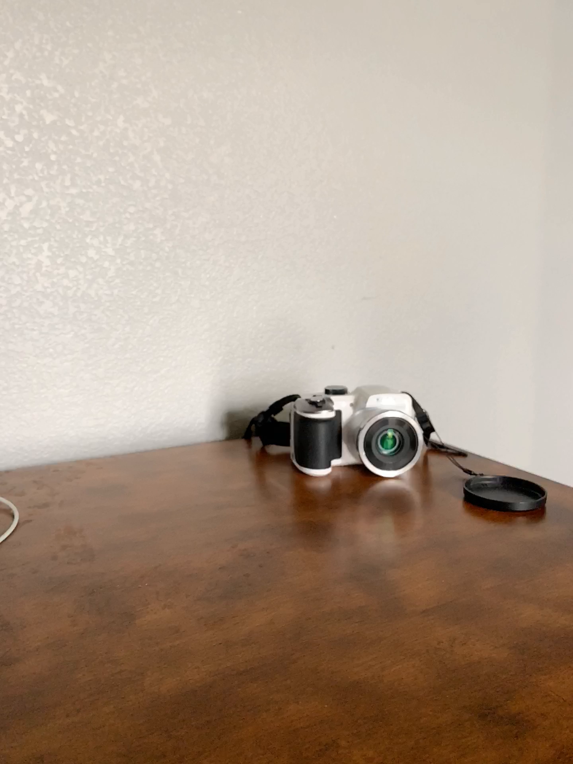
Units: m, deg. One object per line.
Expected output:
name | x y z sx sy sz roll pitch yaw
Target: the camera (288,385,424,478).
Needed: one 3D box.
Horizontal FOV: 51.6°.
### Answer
camera | 0.062 0.045 0.563 0.119 0.071 0.070 -1 8 -1
